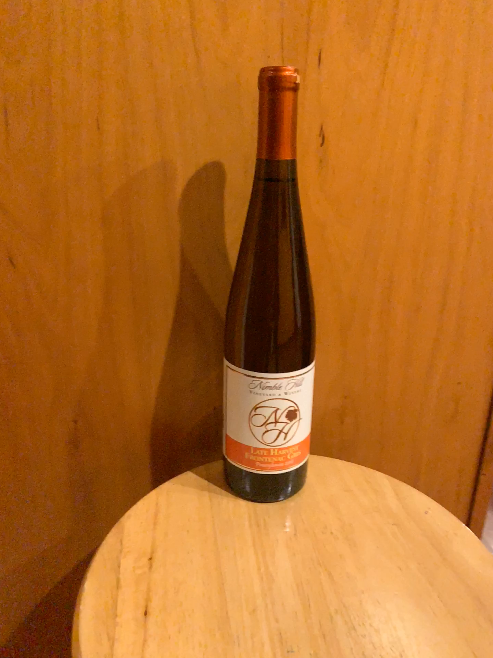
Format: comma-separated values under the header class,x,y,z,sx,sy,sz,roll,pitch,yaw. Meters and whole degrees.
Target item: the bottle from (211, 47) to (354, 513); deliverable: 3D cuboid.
class,x,y,z,sx,sy,sz,roll,pitch,yaw
bottle,0.017,-0.021,0.384,0.080,0.329,0.060,-2,20,-11
